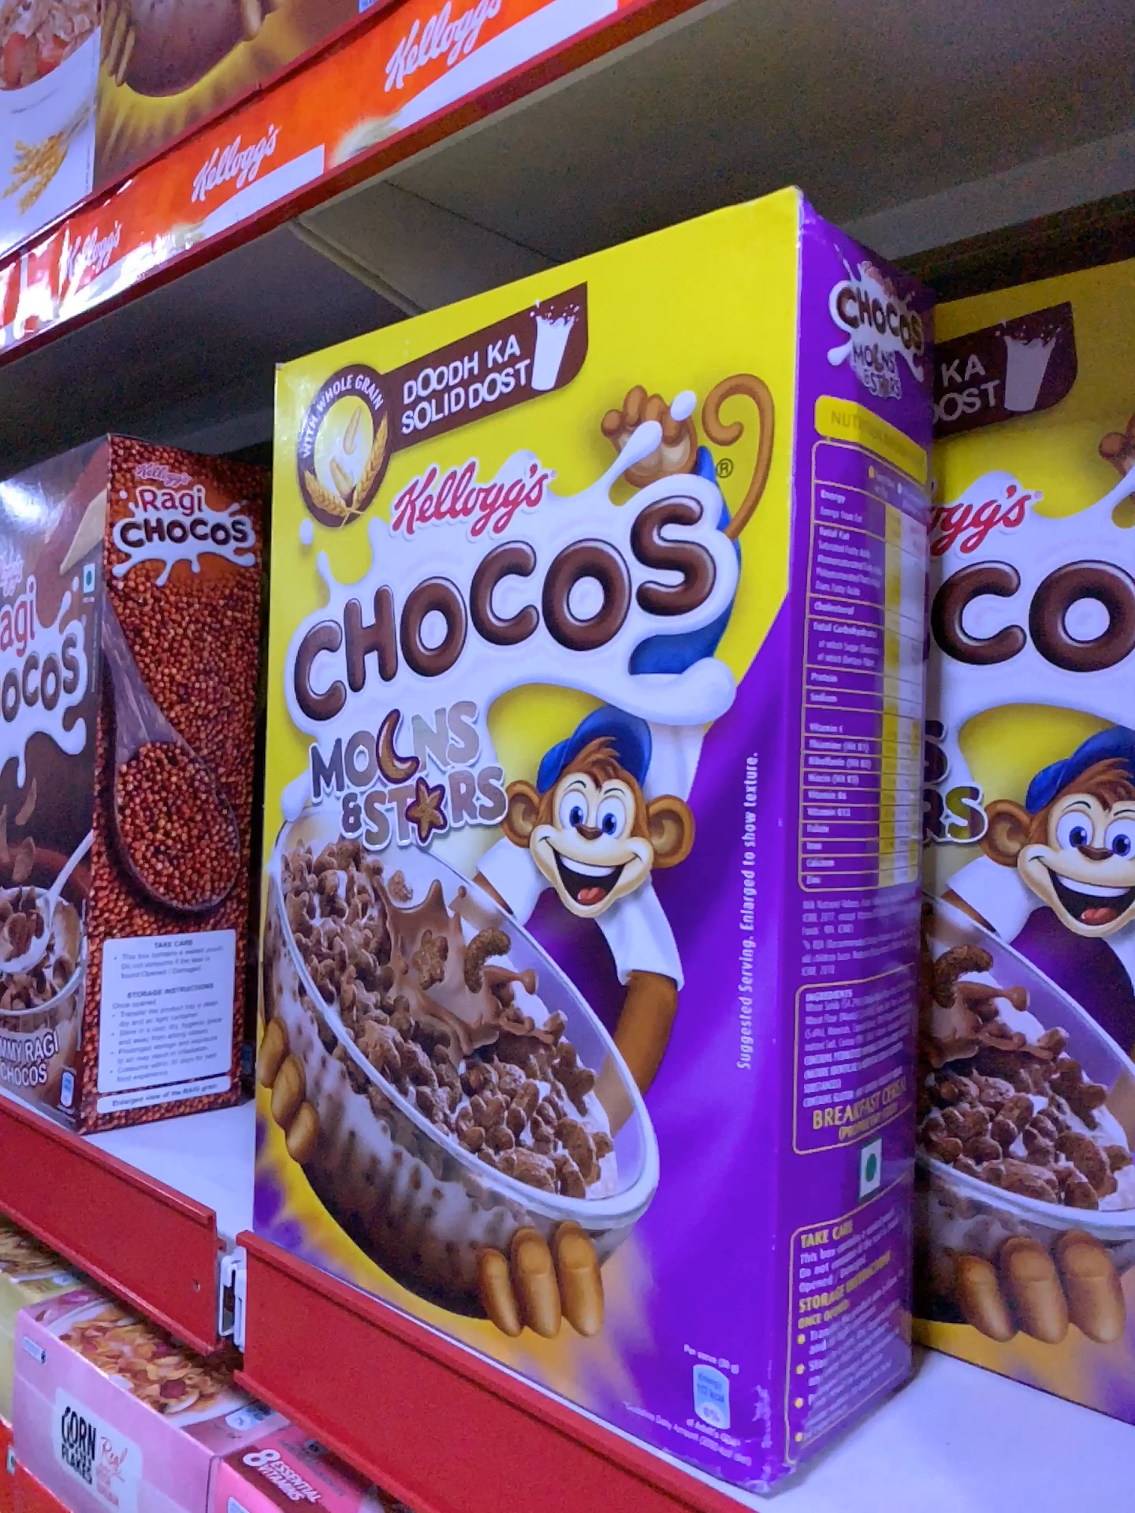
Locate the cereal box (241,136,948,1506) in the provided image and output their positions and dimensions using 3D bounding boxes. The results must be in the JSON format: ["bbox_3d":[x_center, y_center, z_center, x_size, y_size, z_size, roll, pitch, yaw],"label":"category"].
[{"bbox_3d":[-0.004,0.009,0.298,0.180,0.250,0.060,0,-1,42],"label":"cereal box"}]
